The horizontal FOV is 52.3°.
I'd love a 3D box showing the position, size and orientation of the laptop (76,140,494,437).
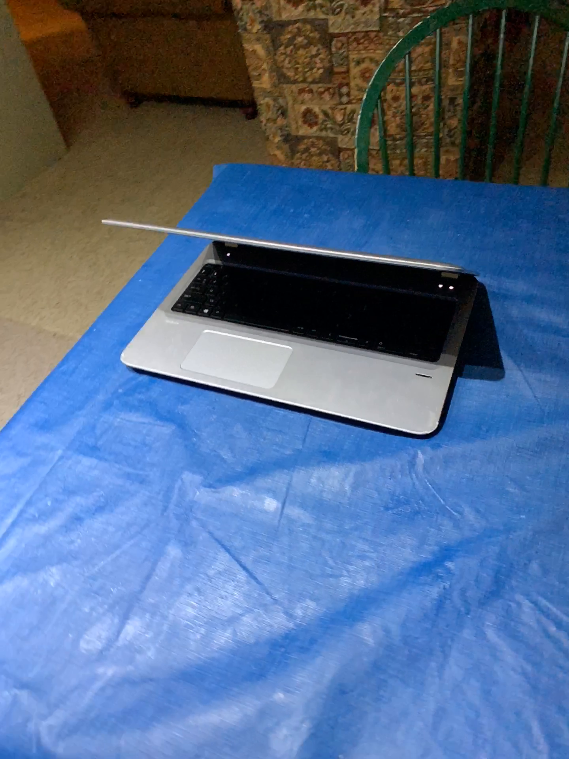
[{"bbox_3d":[0.013,-0.124,0.652,0.365,0.156,0.255,12,51,21],"label":"laptop"}]
